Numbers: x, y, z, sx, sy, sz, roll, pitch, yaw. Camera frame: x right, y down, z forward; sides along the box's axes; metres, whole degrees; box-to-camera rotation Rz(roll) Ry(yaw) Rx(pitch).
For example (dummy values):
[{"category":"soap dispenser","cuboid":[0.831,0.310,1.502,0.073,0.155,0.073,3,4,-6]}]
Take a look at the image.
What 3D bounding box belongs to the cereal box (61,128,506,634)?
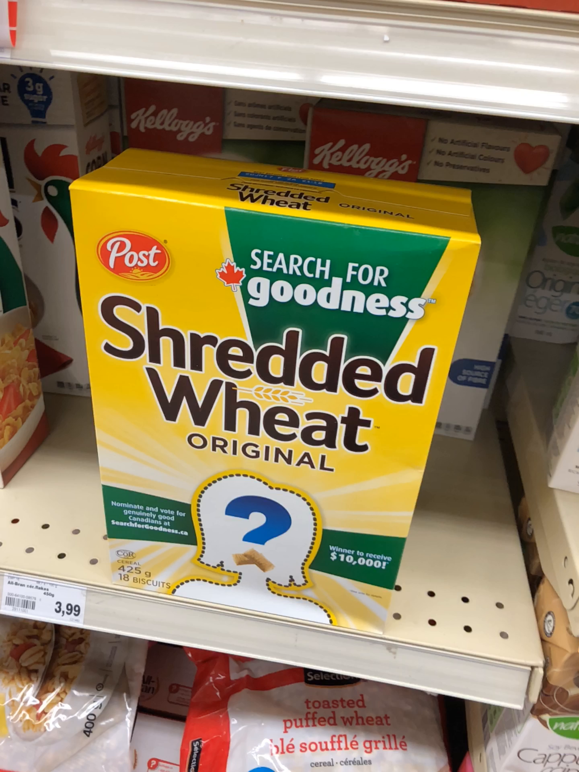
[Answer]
[{"category":"cereal box","cuboid":[-0.009,0.011,0.395,0.200,0.288,0.081,8,33,5]}]
